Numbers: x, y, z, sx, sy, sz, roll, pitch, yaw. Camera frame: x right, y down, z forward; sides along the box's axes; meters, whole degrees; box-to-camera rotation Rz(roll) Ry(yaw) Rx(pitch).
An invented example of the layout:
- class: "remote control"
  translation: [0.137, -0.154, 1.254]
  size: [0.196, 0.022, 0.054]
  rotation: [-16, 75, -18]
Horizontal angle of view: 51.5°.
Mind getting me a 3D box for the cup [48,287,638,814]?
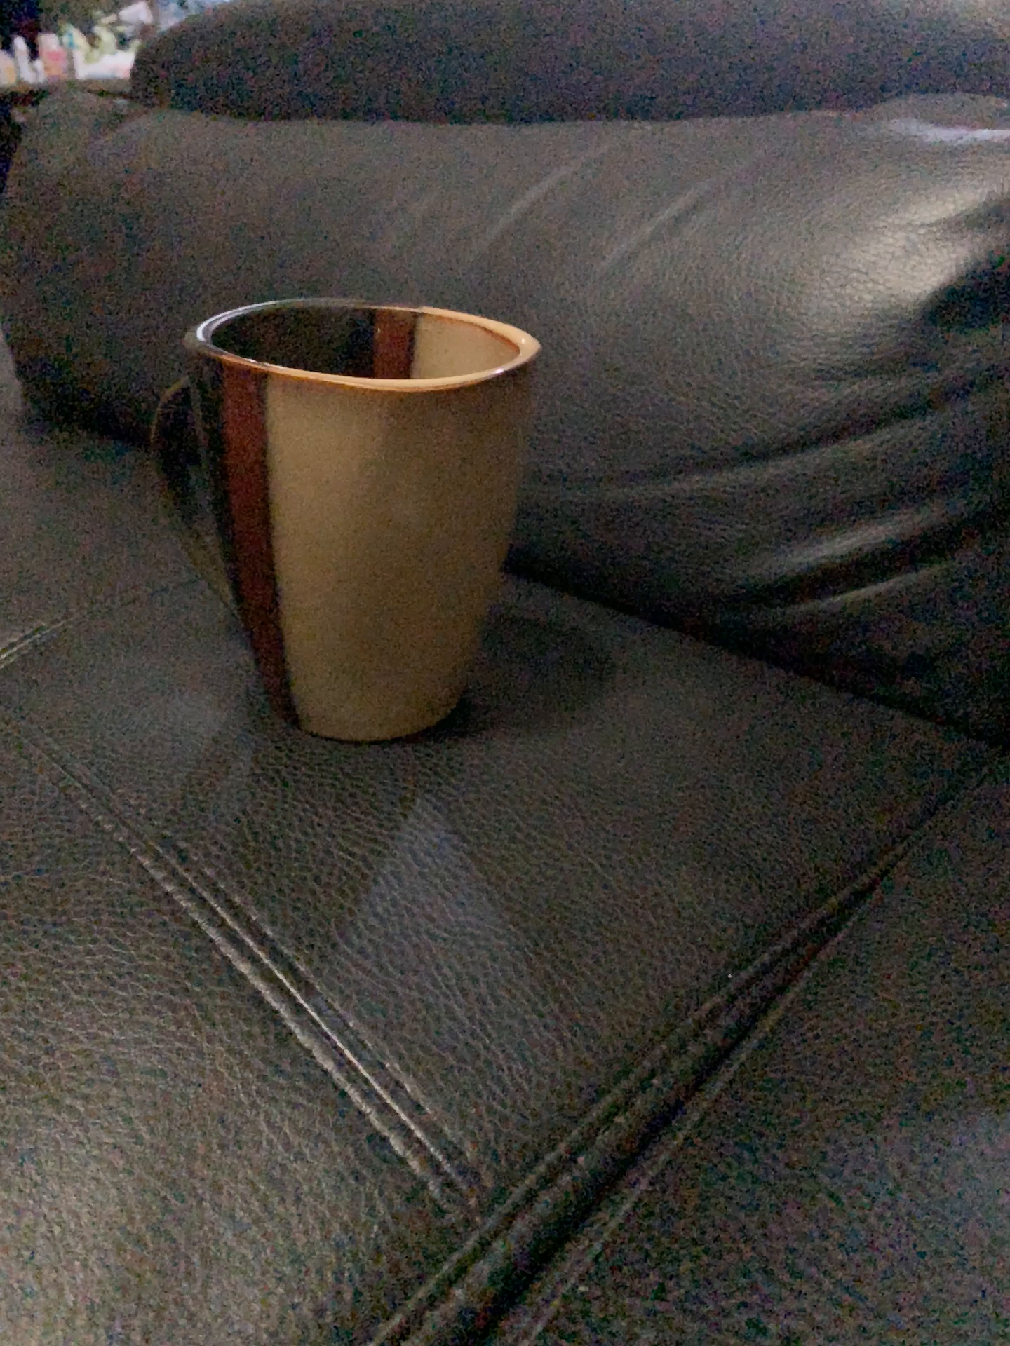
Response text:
- class: "cup"
  translation: [-0.046, -0.048, 0.330]
  size: [0.138, 0.109, 0.098]
  rotation: [17, 34, 24]
